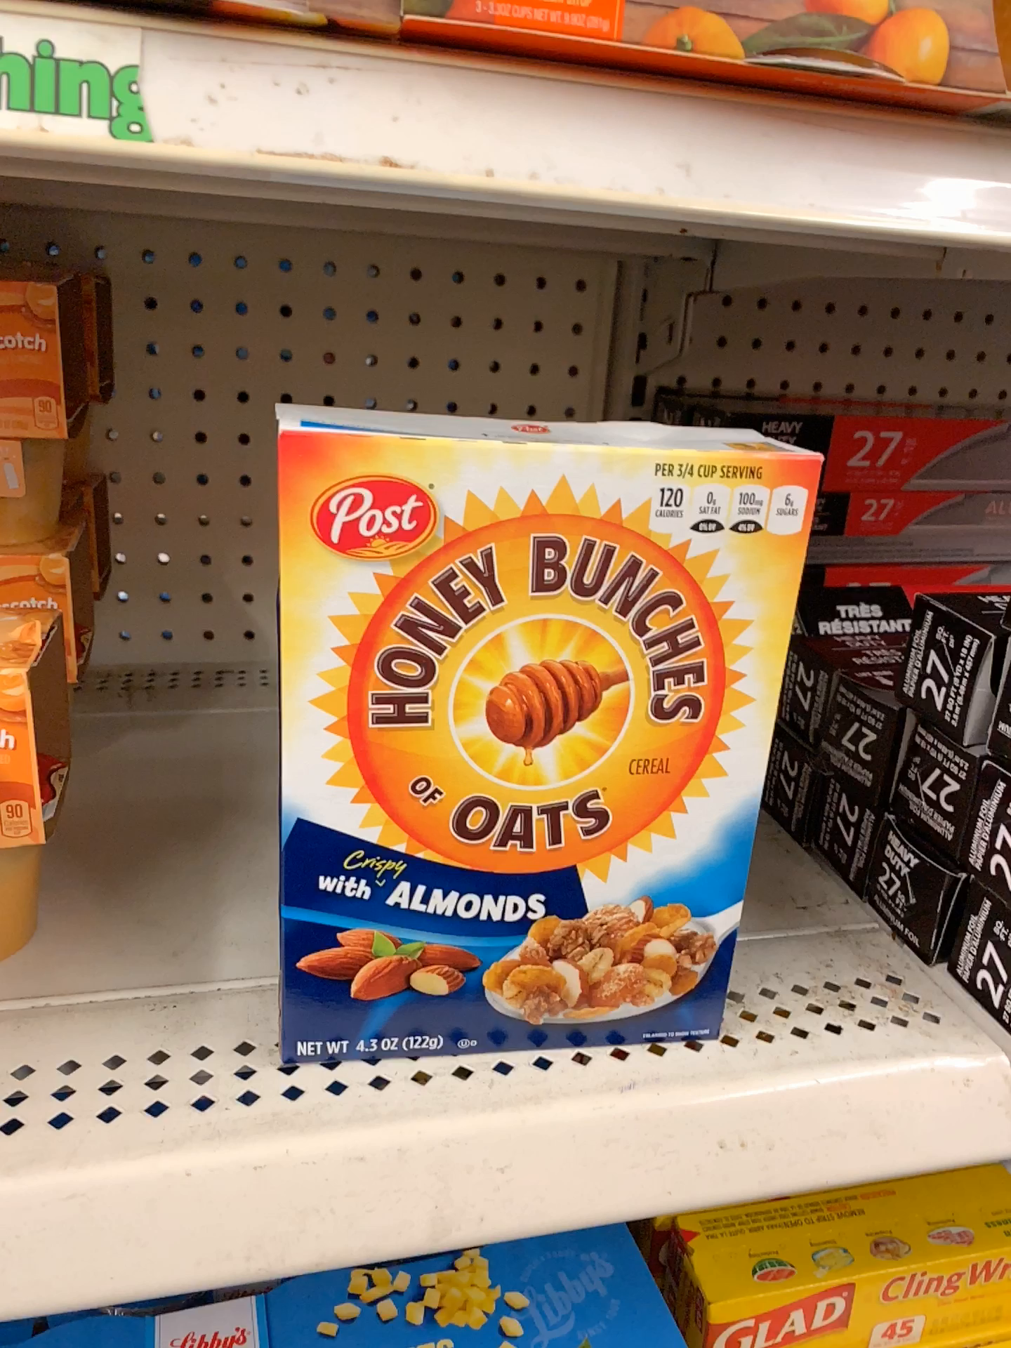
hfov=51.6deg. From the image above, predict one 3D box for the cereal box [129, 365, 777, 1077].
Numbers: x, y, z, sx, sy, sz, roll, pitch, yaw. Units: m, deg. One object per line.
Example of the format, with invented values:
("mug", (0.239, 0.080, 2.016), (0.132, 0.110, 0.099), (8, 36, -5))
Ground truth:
("cereal box", (-0.018, 0.016, 0.297), (0.150, 0.189, 0.050), (0, 21, -9))
